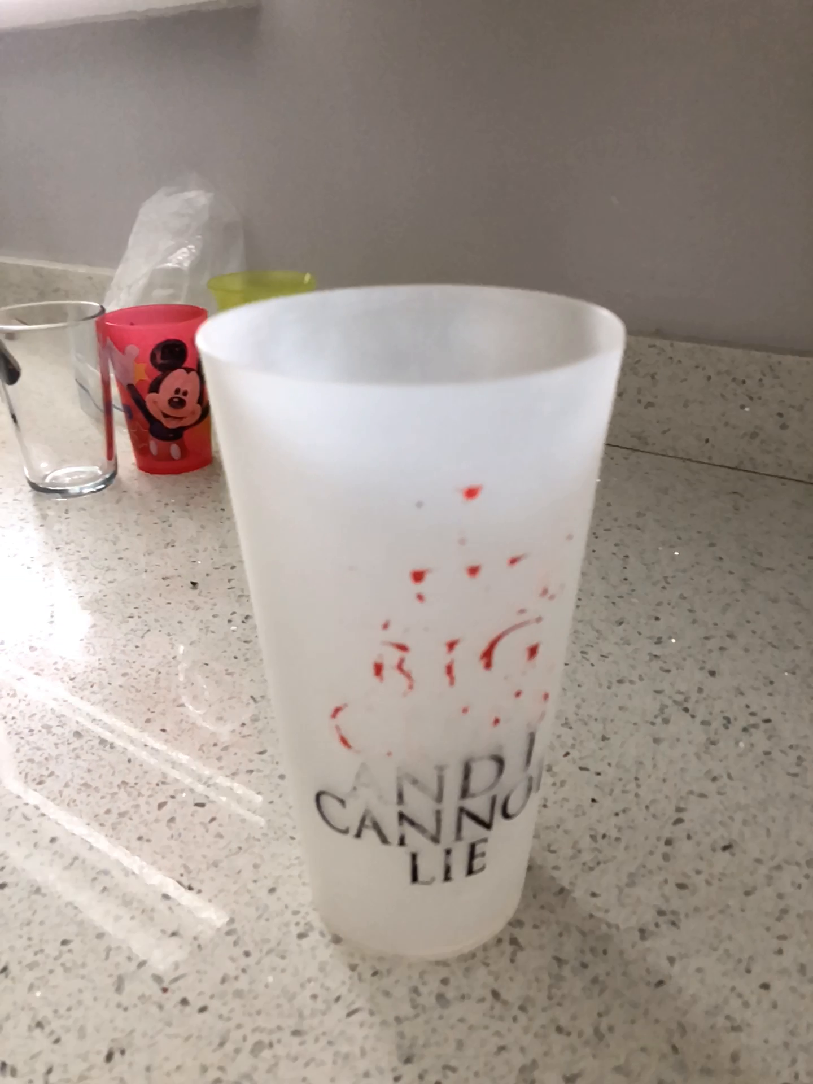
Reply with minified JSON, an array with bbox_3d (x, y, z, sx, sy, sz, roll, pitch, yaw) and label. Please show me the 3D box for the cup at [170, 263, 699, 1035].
[{"bbox_3d":[0.000,0.021,0.237,0.096,0.166,0.094,-1,25,1],"label":"cup"}]
